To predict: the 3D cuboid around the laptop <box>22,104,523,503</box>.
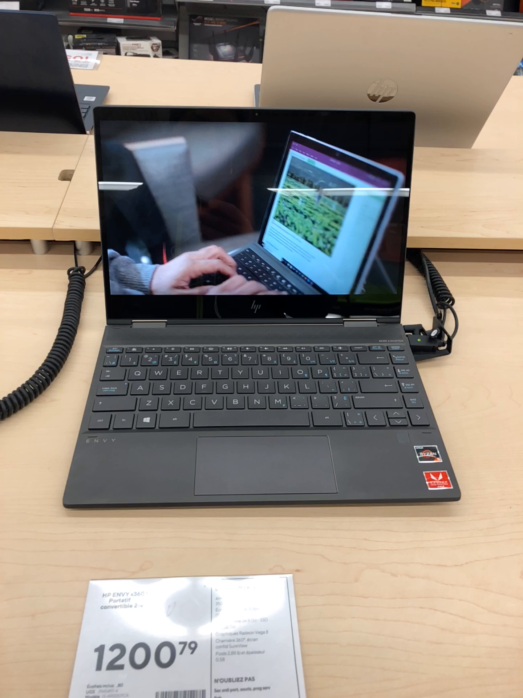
[{"bbox_3d":[0.003,-0.052,0.482,0.294,0.182,0.289,0,43,-5],"label":"laptop"}]
